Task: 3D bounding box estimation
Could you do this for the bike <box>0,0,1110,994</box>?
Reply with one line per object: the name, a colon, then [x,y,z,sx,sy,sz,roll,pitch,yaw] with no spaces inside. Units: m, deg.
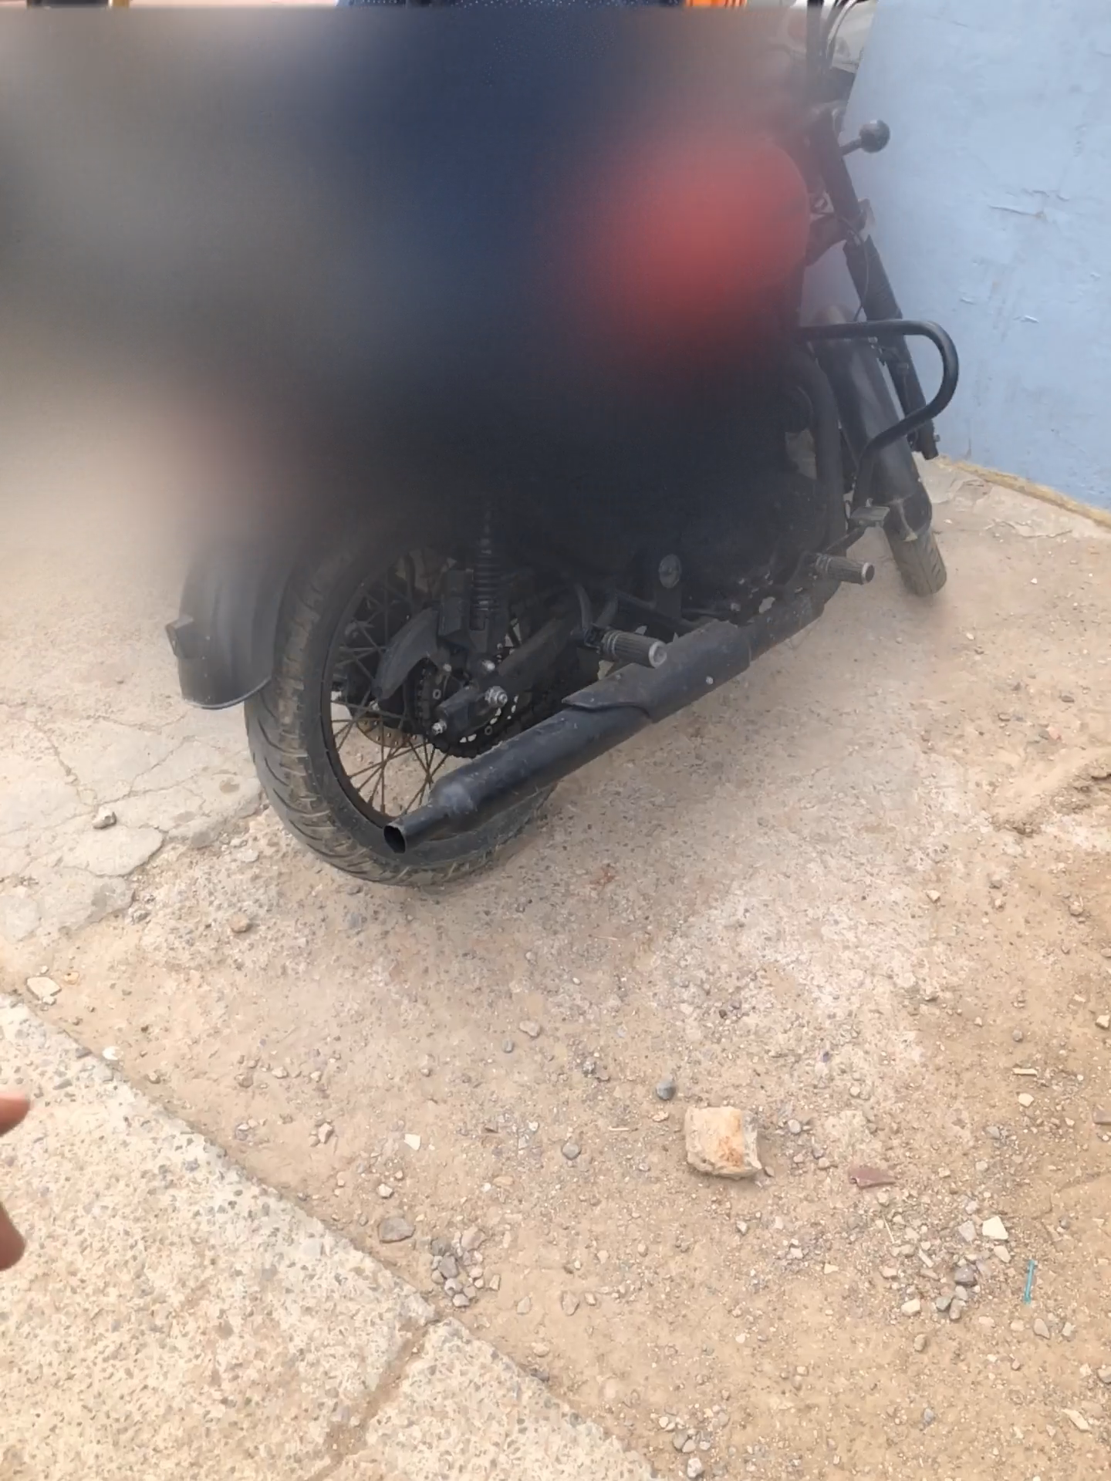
bike: [0.025,-0.742,1.906,0.777,1.246,1.547,31,48,24]
